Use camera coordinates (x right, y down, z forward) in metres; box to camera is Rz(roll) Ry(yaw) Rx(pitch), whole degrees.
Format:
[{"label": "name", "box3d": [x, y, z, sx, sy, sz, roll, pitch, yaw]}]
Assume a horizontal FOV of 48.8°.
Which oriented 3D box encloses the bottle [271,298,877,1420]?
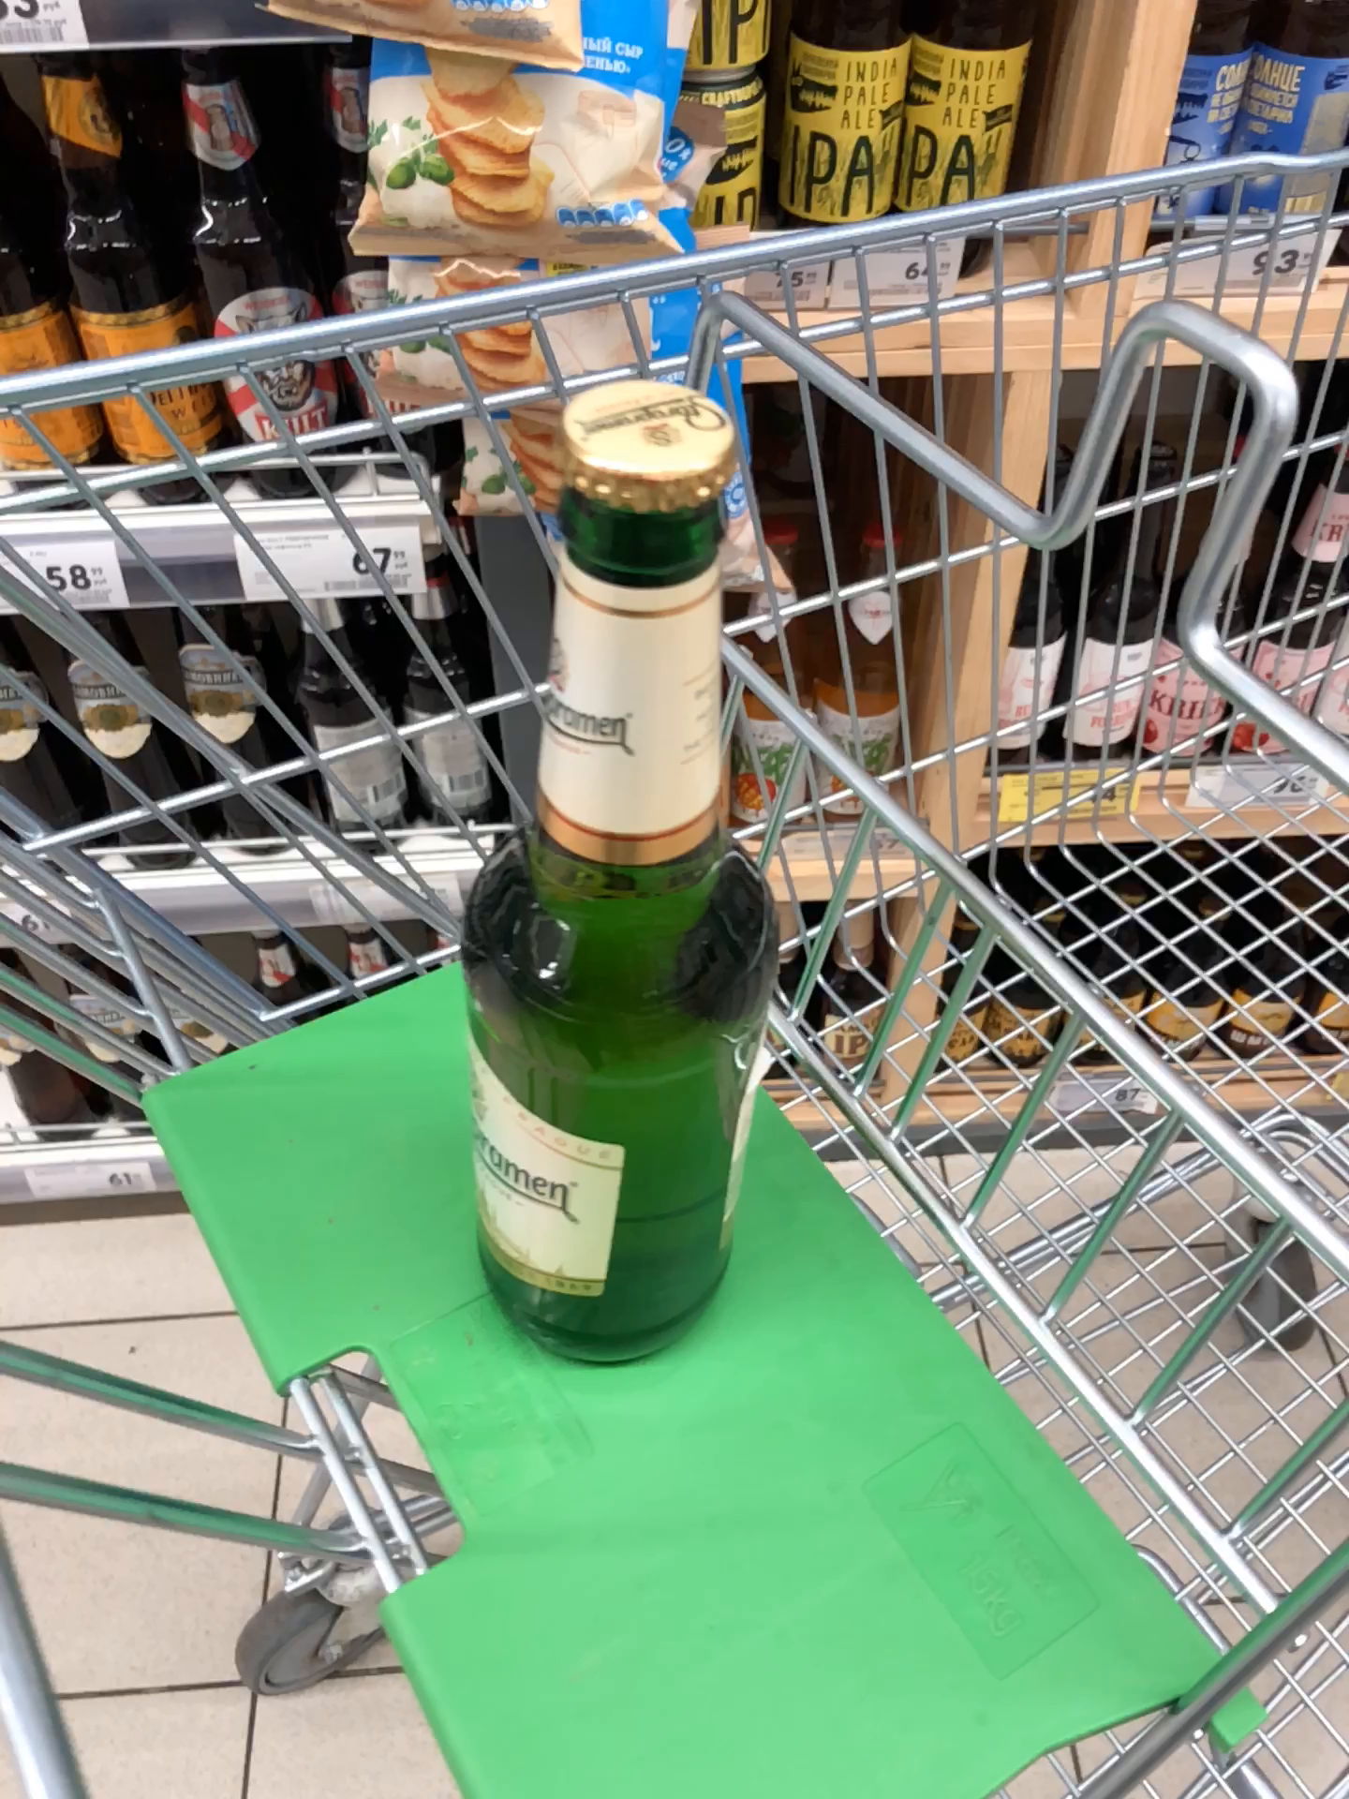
[{"label": "bottle", "box3d": [-0.022, 0.012, 0.310, 0.070, 0.239, 0.070, 1, 47, -2]}]
